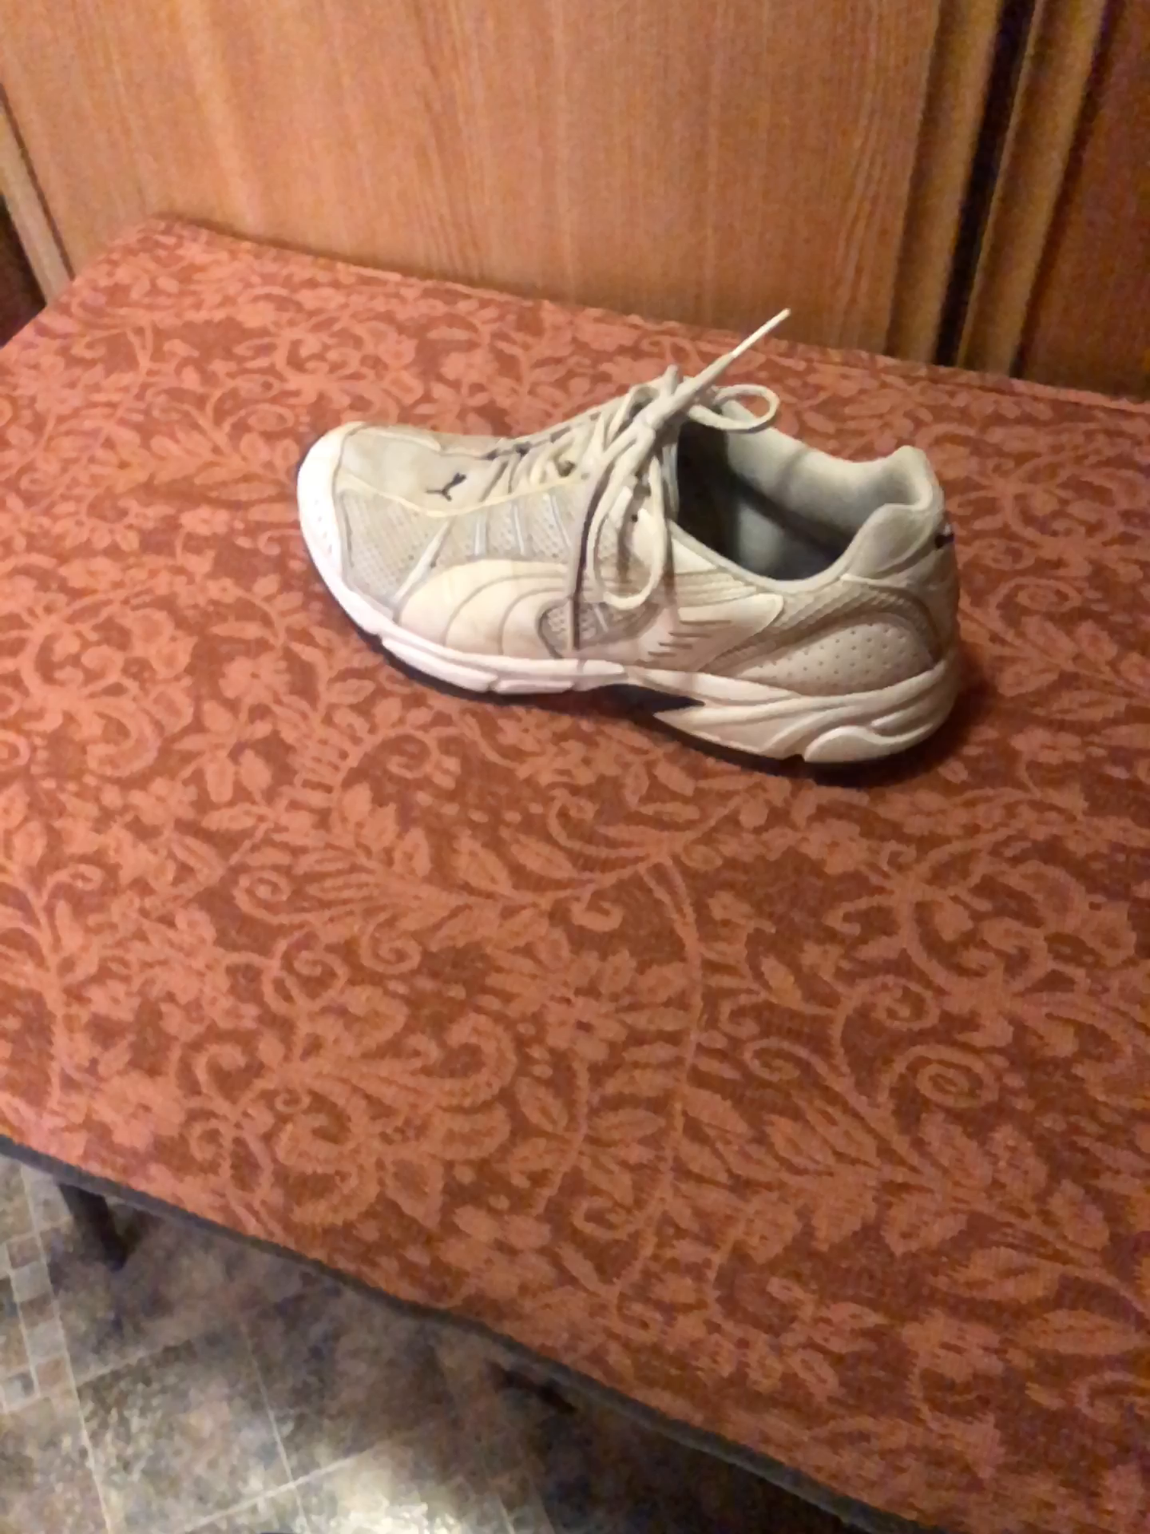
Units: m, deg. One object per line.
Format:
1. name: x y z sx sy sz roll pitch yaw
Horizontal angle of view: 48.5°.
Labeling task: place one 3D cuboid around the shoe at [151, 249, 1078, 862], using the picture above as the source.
1. shoe: 0.011 -0.088 0.471 0.290 0.100 0.120 19 55 18
